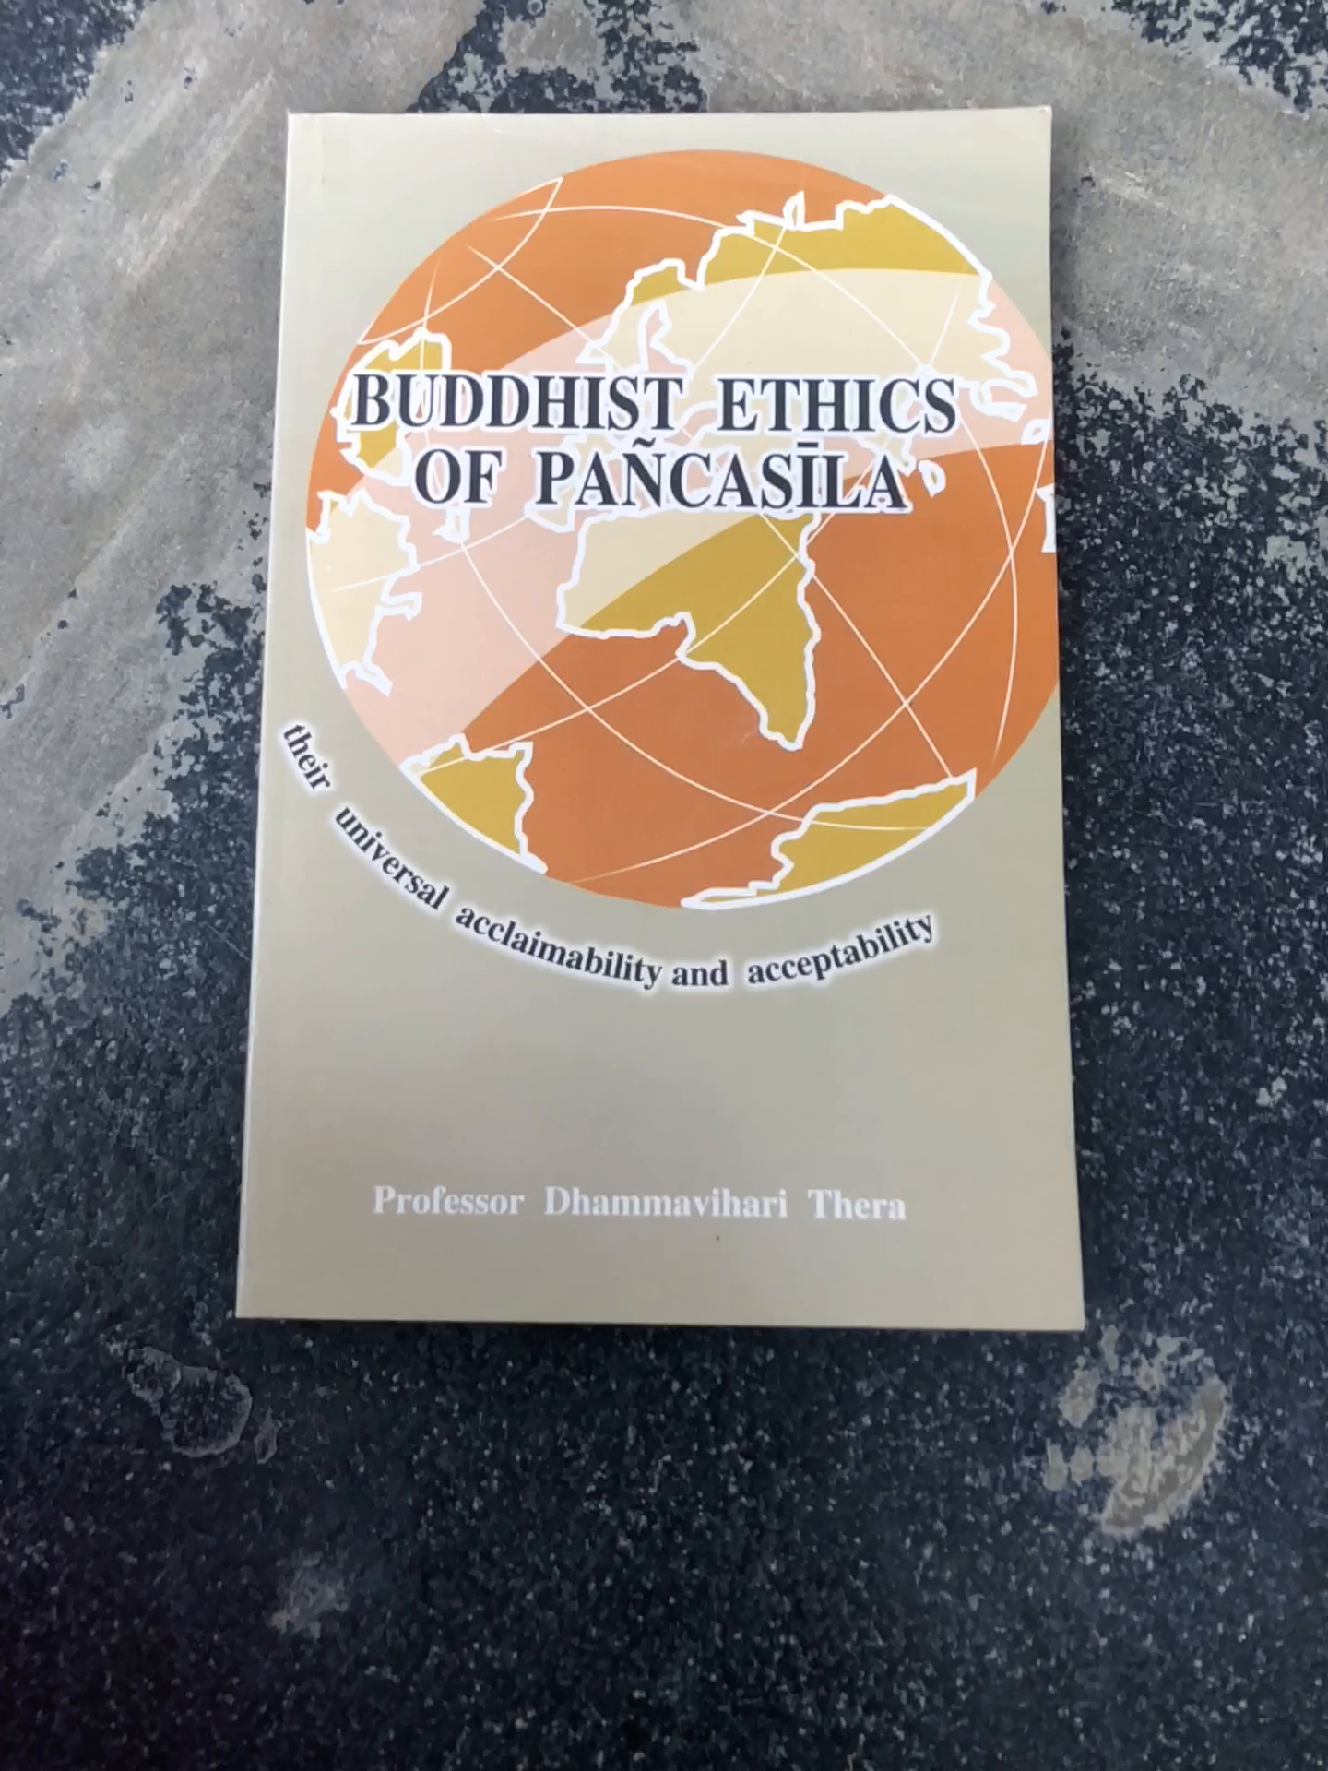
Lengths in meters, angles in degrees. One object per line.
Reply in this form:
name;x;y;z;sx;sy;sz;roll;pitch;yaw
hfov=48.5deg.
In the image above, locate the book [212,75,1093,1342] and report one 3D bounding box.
book;-0.002;-0.036;0.255;0.140;0.010;0.220;0;82;-1
